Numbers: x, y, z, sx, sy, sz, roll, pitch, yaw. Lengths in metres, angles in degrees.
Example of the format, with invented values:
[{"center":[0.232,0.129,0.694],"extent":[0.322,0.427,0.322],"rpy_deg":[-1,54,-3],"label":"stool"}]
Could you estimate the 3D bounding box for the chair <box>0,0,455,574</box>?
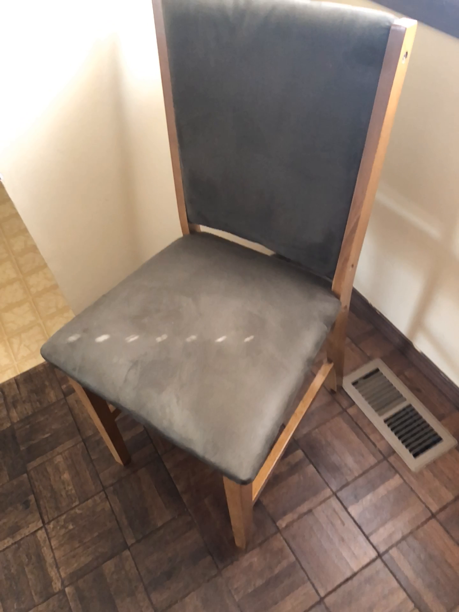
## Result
[{"center":[-0.037,-0.018,0.913],"extent":[0.490,0.859,0.510],"rpy_deg":[25,54,25],"label":"chair"}]
